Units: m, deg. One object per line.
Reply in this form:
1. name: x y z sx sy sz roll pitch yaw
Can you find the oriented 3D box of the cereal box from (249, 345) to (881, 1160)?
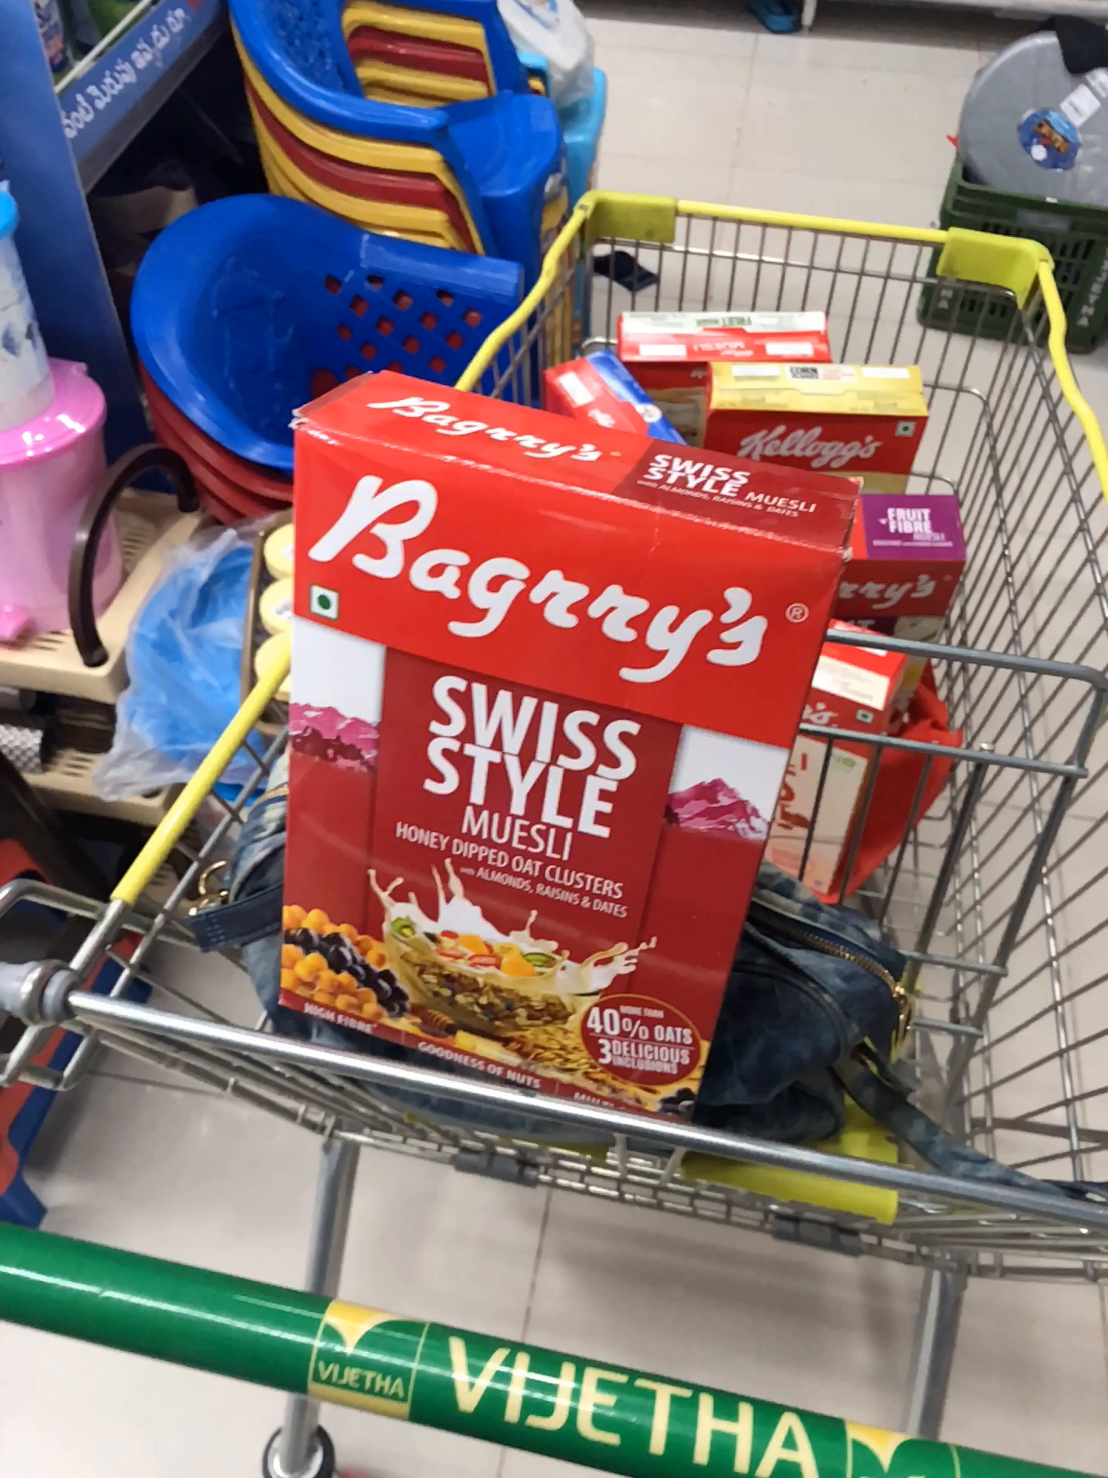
1. cereal box: -0.009 0.009 0.458 0.190 0.259 0.070 15 30 12
